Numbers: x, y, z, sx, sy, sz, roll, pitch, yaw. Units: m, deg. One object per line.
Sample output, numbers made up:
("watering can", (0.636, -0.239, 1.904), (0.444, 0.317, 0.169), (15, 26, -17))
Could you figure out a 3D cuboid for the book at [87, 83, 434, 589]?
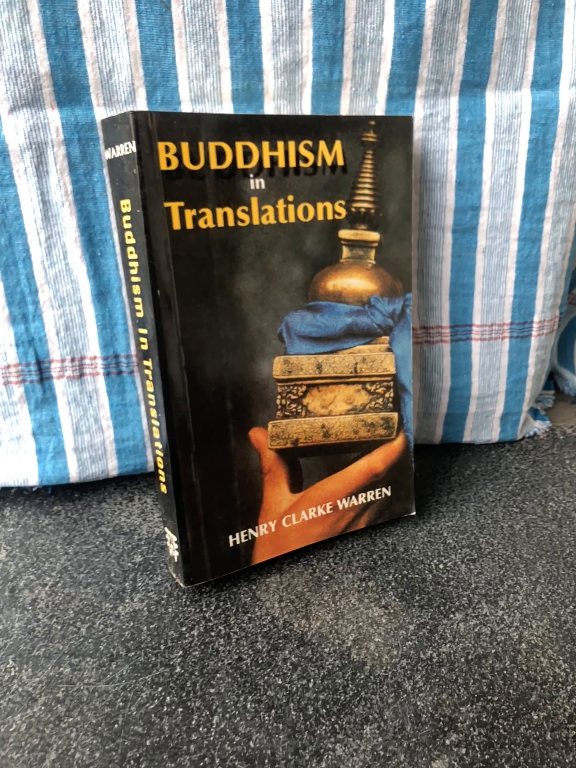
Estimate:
("book", (-0.007, -0.028, 0.318), (0.140, 0.210, 0.050), (-11, 9, -27))
